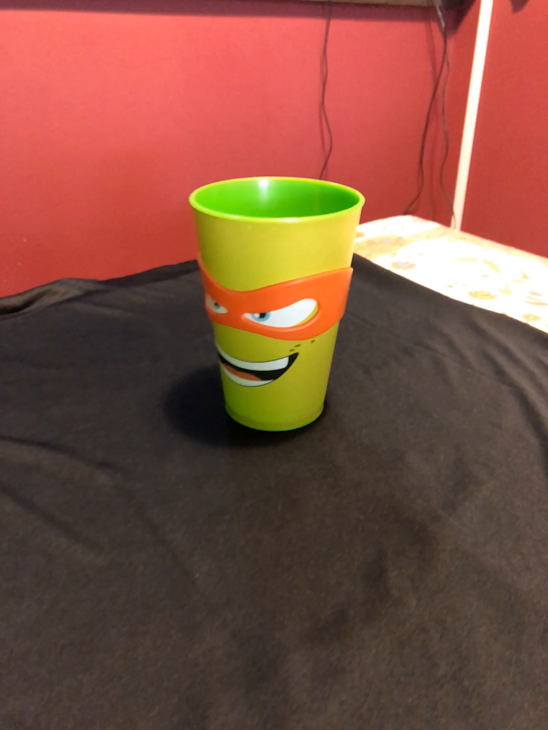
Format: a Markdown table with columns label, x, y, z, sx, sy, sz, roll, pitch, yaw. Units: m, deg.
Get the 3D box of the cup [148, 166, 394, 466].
| label | x | y | z | sx | sy | sz | roll | pitch | yaw |
| --- | --- | --- | --- | --- | --- | --- | --- | --- | --- |
| cup | 0.003 | -0.038 | 0.378 | 0.100 | 0.139 | 0.111 | 14 | 31 | 24 |
